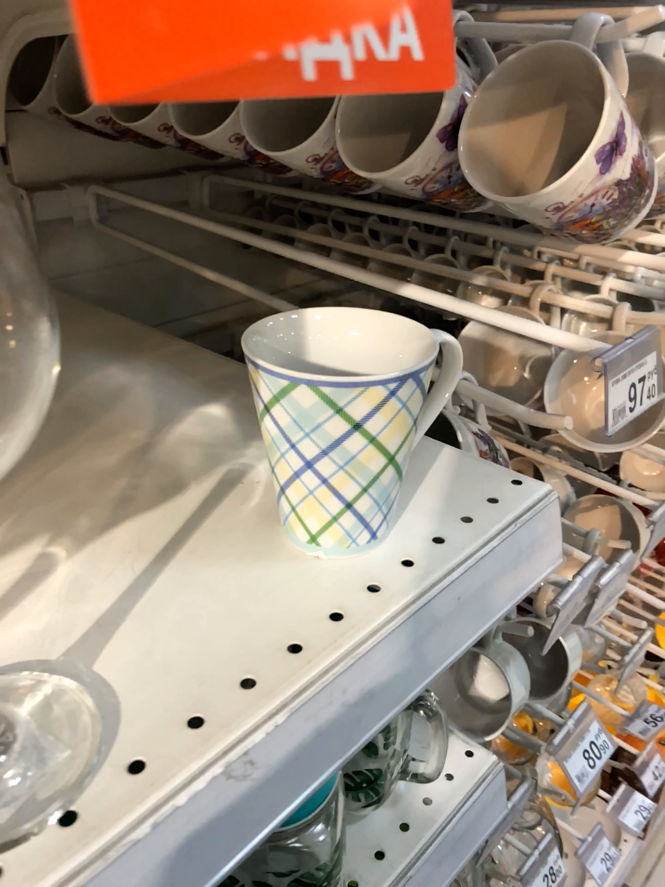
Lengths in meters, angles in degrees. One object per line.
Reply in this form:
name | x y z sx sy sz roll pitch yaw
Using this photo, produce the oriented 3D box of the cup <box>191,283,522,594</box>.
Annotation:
cup | 0.012 -0.012 0.338 0.116 0.085 0.088 -24 38 -39
